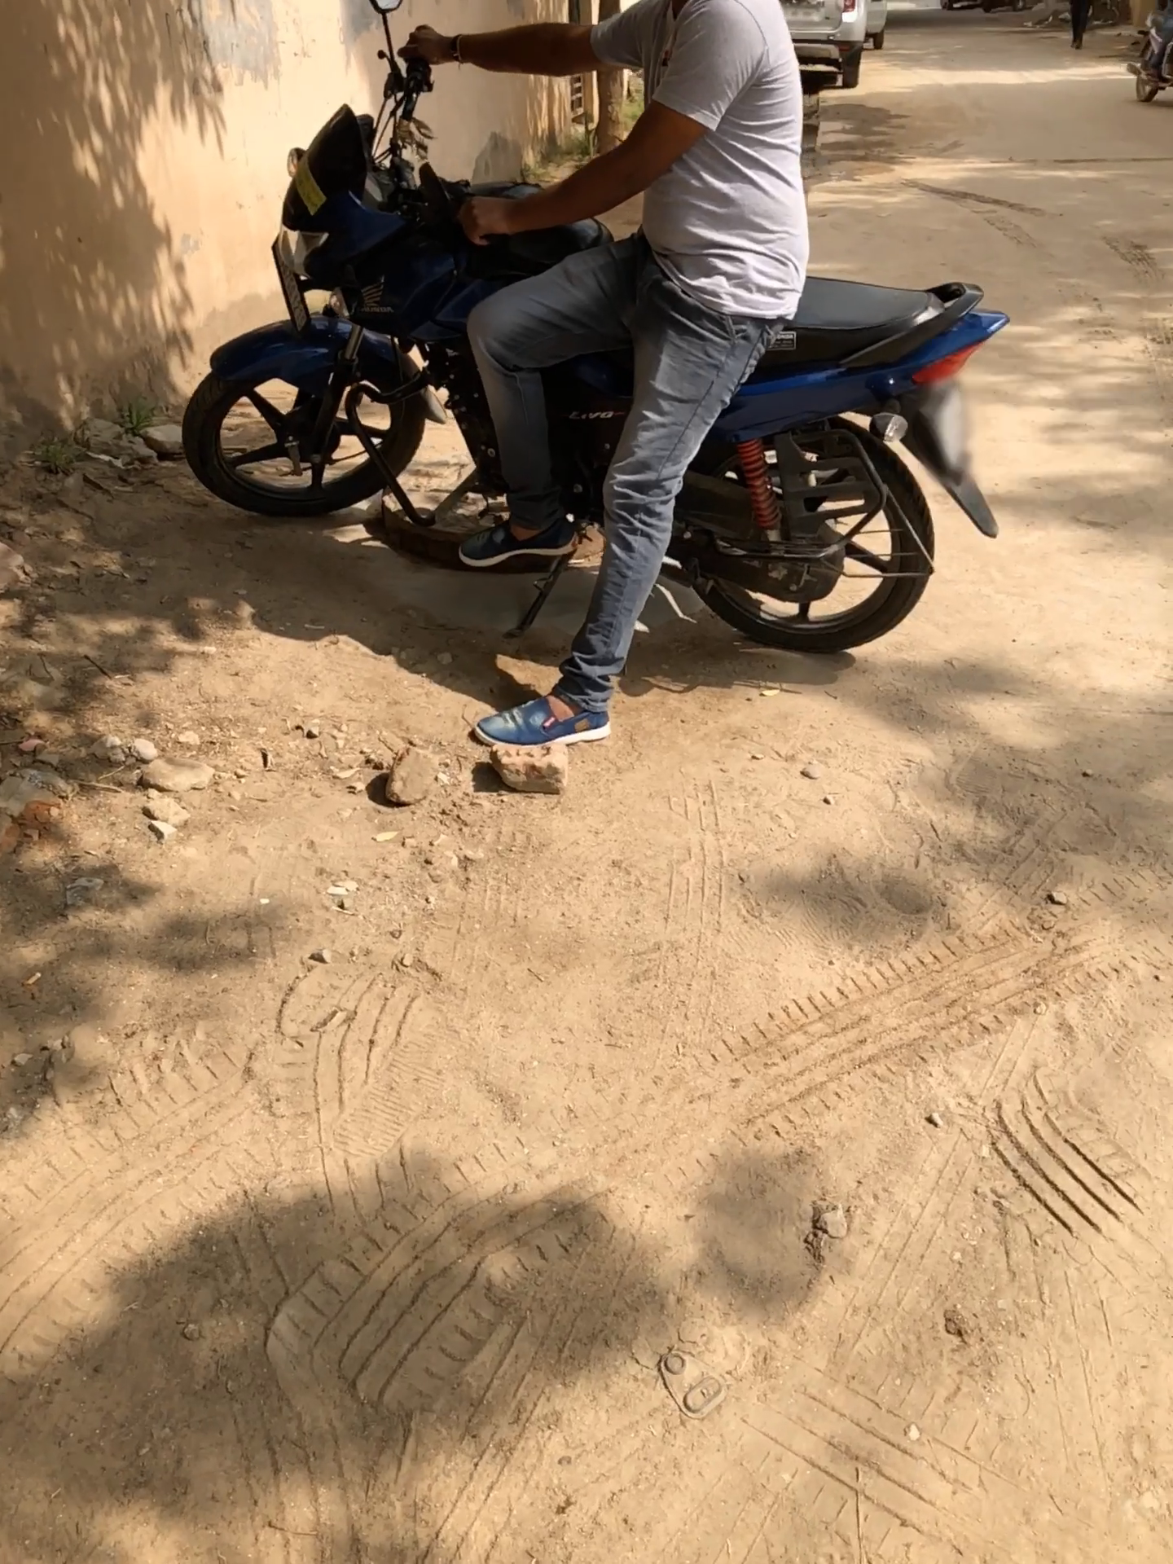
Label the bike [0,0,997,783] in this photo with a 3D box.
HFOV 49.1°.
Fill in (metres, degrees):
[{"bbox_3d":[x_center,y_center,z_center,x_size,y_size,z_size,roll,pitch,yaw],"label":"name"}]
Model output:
[{"bbox_3d":[-0.182,-0.900,2.741,1.783,1.242,0.744,12,34,17],"label":"bike"}]
